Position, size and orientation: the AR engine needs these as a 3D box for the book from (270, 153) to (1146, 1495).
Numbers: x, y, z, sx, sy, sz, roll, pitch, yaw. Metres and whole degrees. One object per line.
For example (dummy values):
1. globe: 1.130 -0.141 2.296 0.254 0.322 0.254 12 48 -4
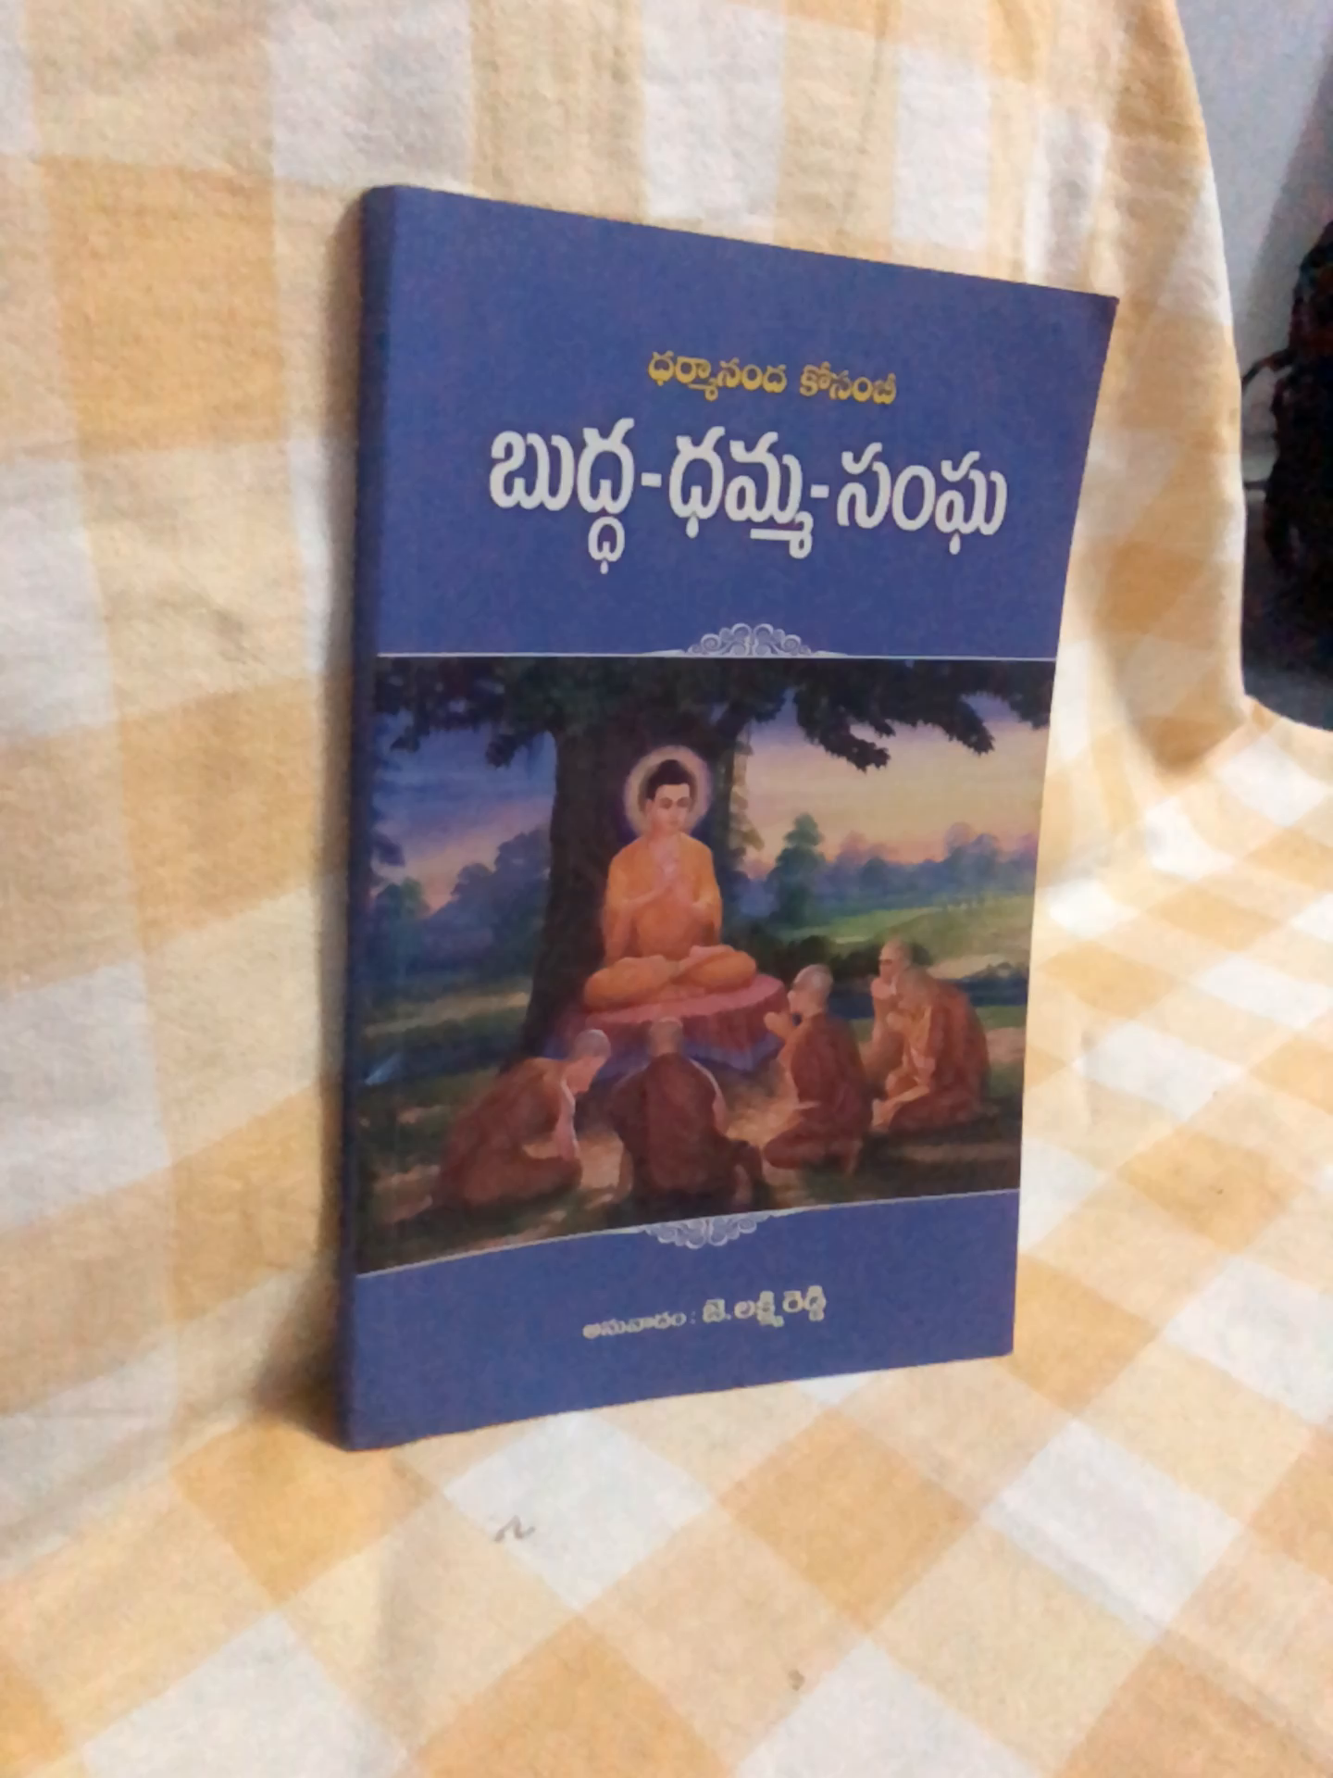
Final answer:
1. book: 0.007 -0.005 0.272 0.150 0.219 0.020 -2 12 -18
